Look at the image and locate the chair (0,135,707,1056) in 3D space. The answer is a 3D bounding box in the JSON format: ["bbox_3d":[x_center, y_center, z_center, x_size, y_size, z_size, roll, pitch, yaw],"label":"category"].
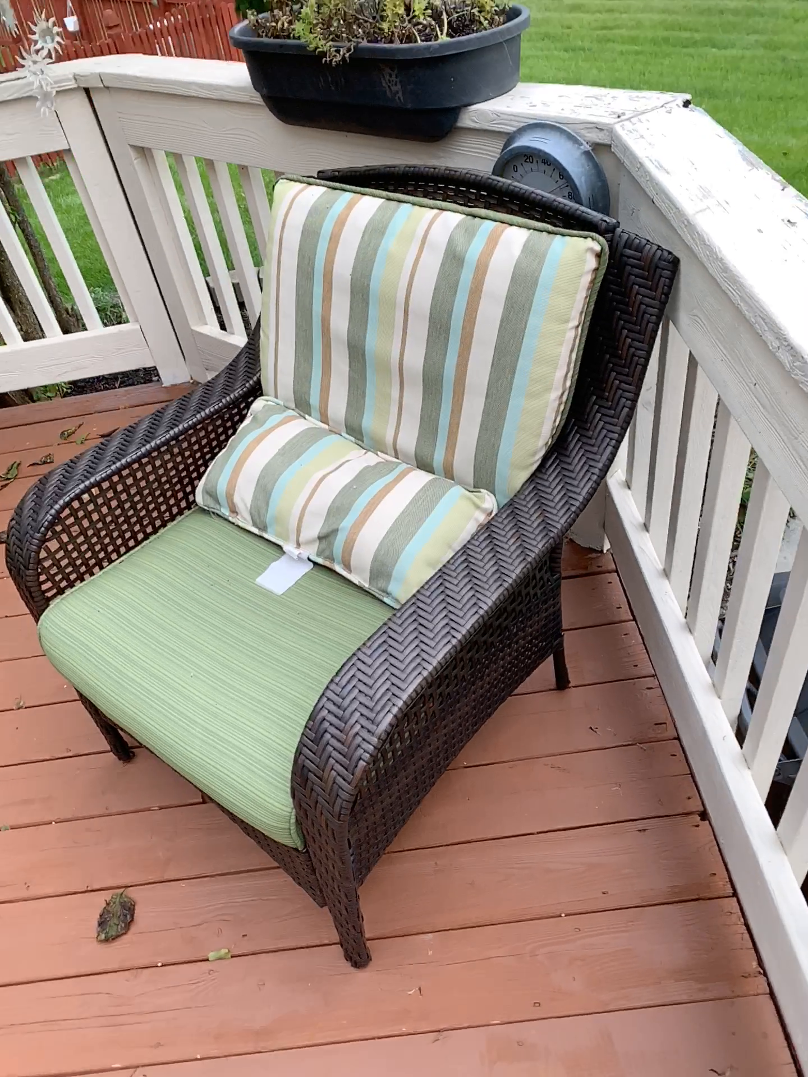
[{"bbox_3d":[-0.159,-0.012,1.268,0.813,0.823,0.862,25,52,34],"label":"chair"}]
